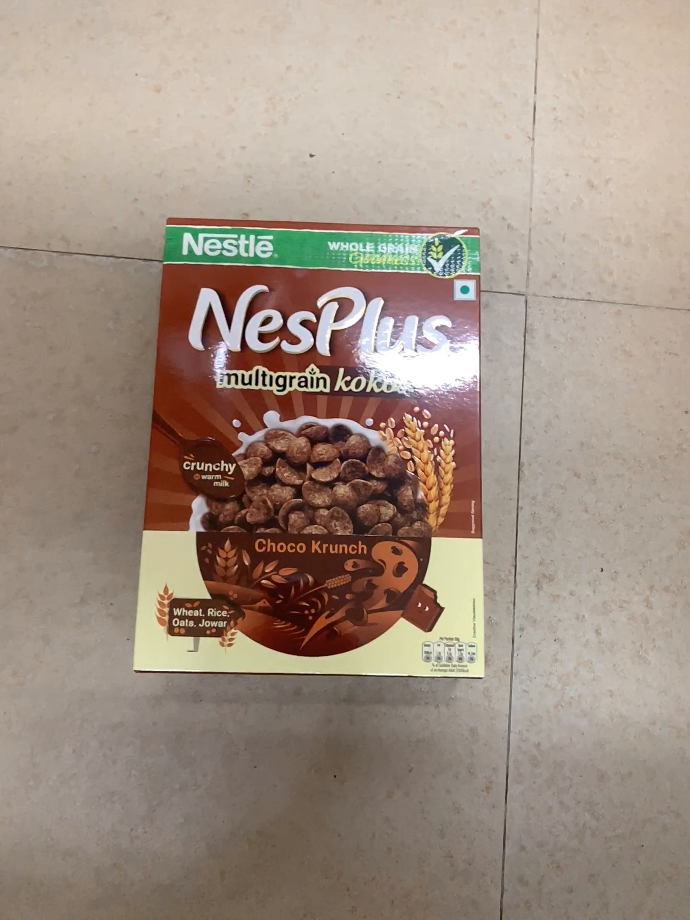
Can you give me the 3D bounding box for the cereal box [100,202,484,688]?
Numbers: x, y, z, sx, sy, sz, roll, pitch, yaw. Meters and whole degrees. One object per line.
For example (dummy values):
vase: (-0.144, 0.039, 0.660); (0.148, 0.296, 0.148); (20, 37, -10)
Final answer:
cereal box: (-0.025, -0.008, 0.456); (0.210, 0.090, 0.280); (2, 80, -1)
